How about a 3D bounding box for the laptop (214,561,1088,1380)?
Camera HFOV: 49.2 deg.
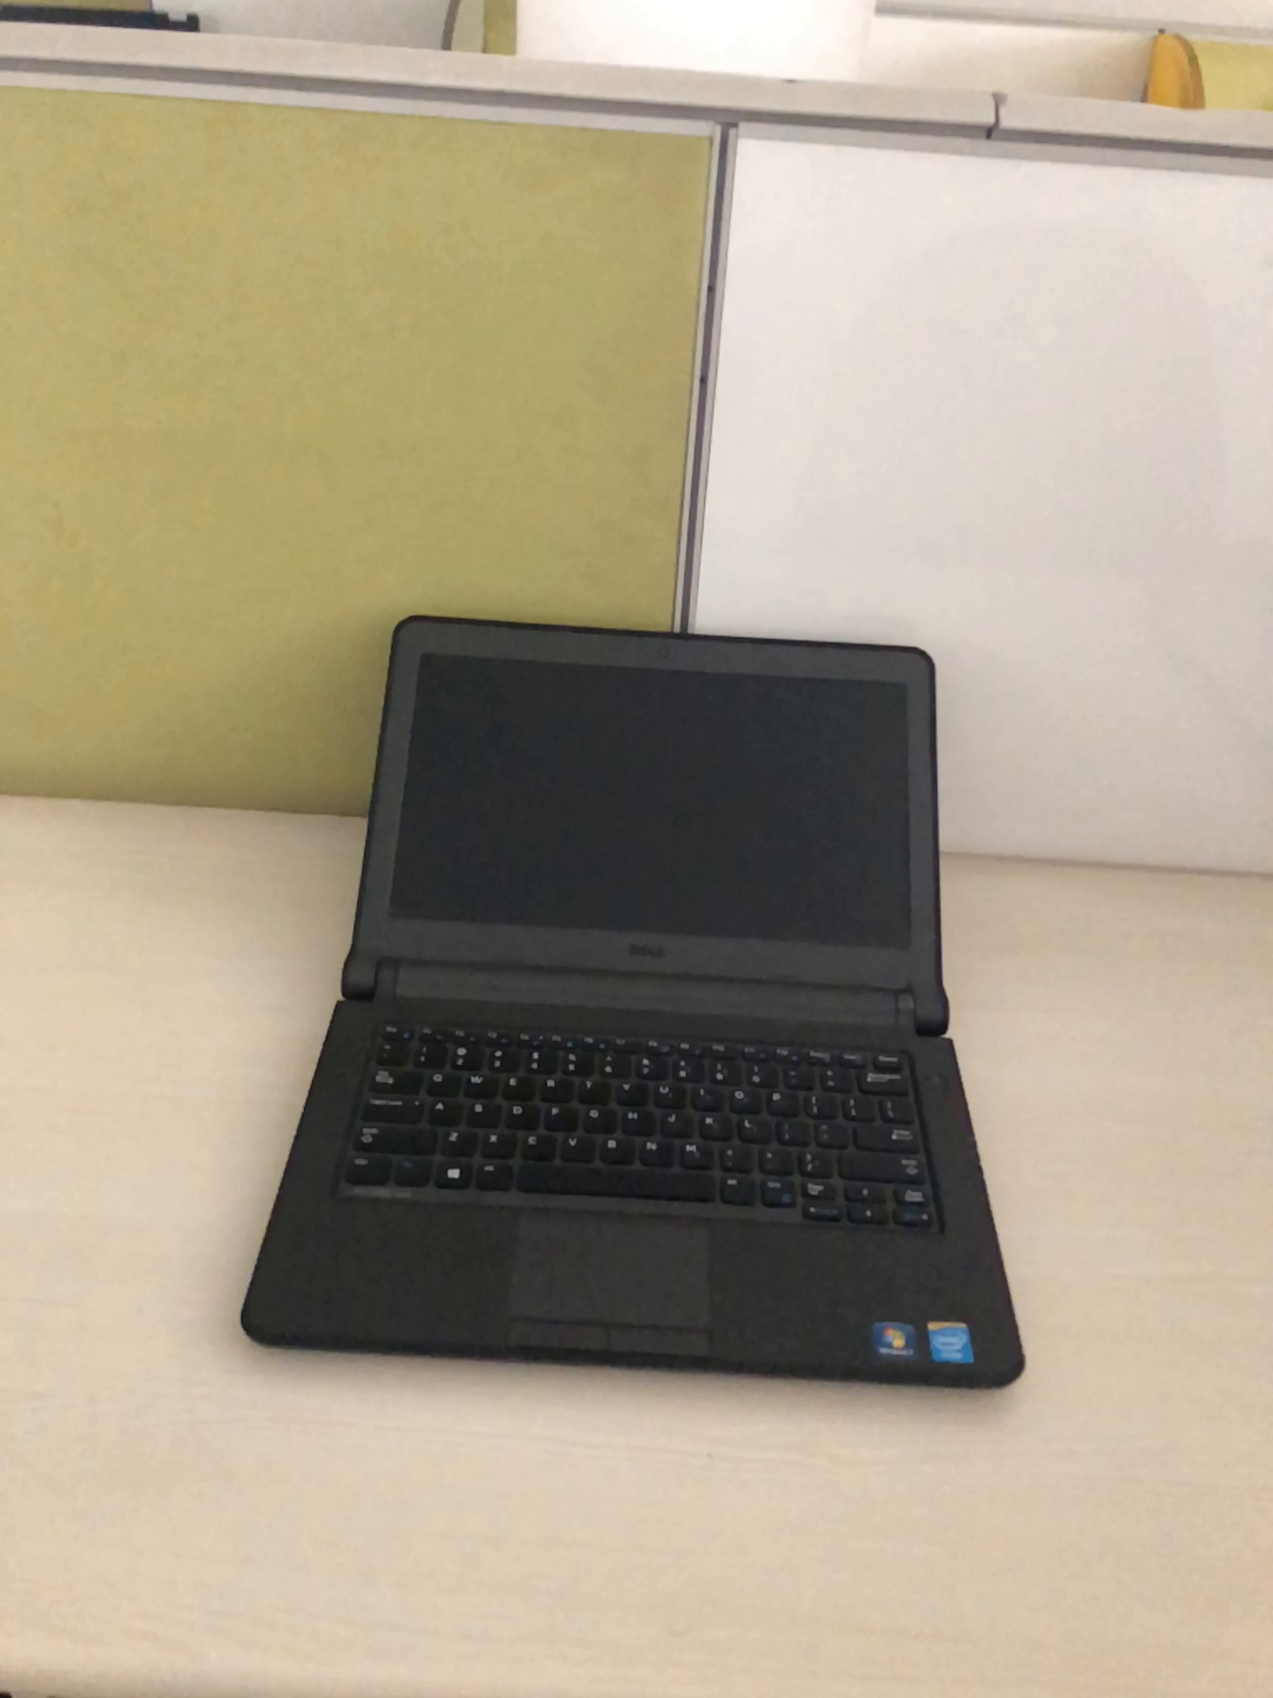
[{"bbox_3d":[0.009,0.023,0.697,0.316,0.122,0.418,4,38,-1],"label":"laptop"}]
